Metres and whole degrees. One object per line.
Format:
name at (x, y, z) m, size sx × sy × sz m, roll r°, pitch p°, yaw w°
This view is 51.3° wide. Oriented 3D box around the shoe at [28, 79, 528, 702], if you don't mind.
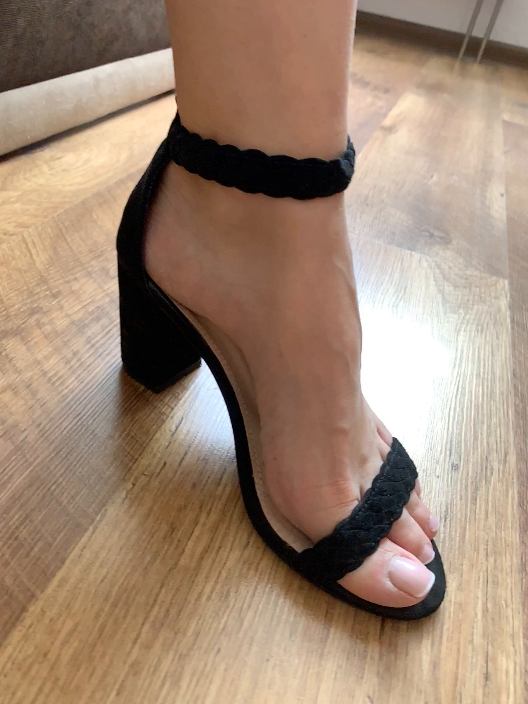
shoe at (0.003, -0.005, 0.242) m, size 0.090 × 0.149 × 0.231 m, roll -26°, pitch 51°, yaw -38°
